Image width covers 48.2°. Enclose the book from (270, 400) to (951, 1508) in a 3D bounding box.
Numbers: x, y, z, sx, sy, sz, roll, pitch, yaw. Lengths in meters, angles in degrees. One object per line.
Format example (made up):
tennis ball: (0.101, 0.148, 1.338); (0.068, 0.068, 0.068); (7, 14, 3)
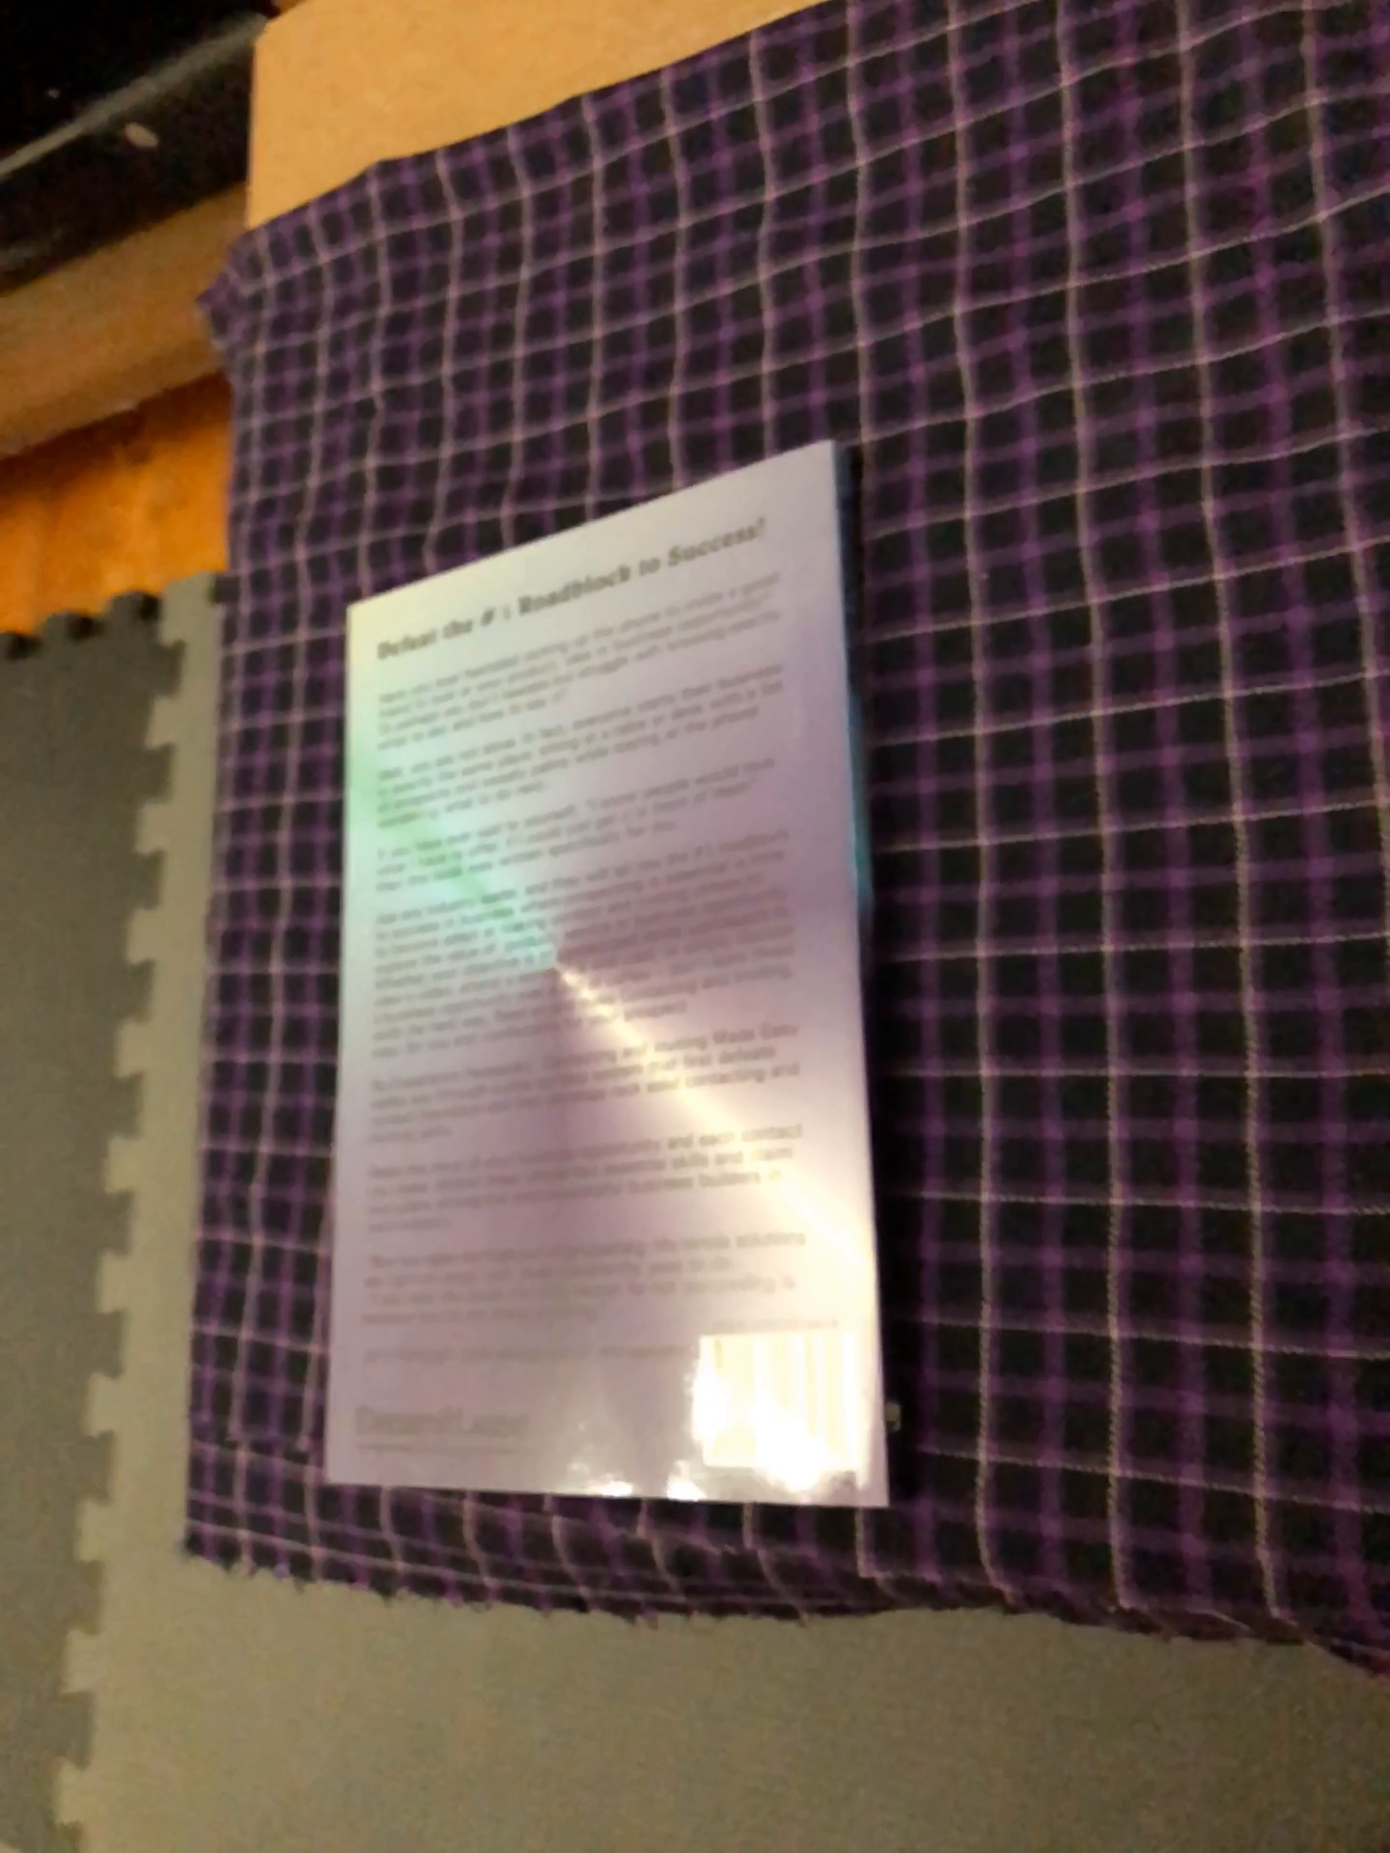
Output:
book: (-0.029, 0.010, 0.350); (0.160, 0.020, 0.220); (-11, 74, 31)
